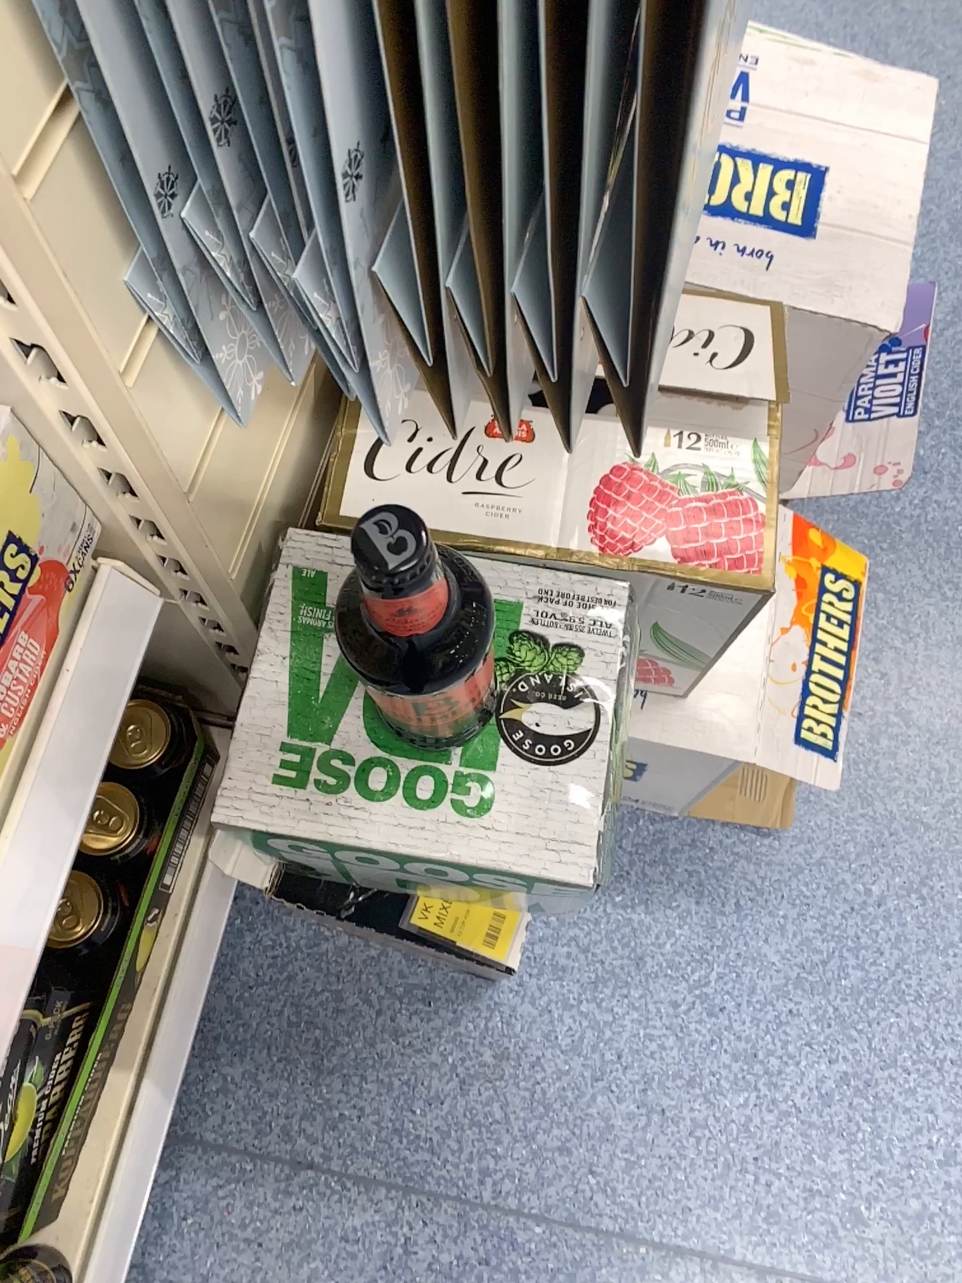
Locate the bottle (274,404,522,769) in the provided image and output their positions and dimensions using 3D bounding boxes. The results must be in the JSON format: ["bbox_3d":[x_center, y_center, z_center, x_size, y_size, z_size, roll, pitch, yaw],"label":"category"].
[{"bbox_3d":[-0.028,-0.008,0.460,0.070,0.235,0.070,0,71,1],"label":"bottle"}]
